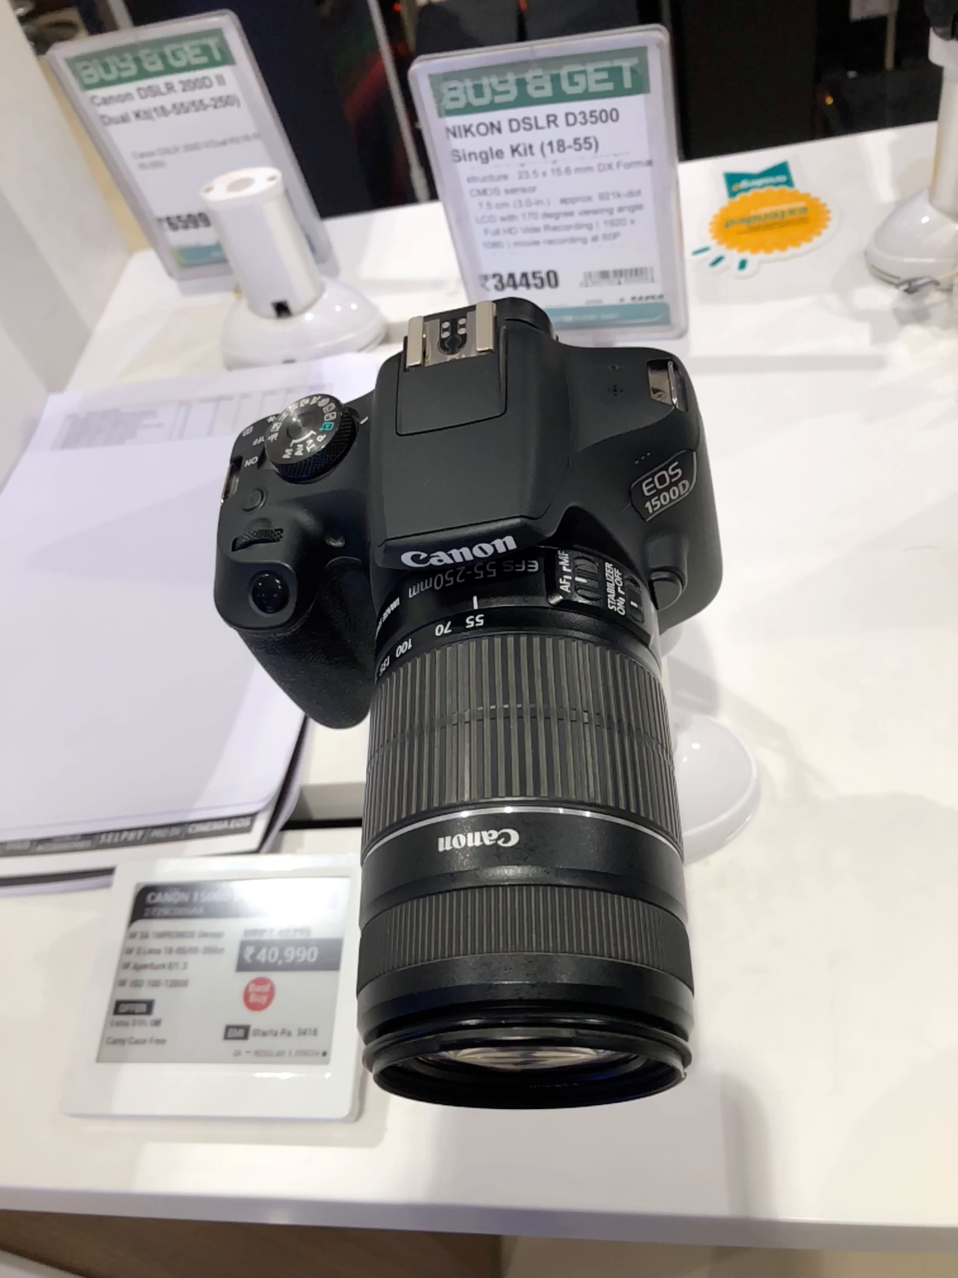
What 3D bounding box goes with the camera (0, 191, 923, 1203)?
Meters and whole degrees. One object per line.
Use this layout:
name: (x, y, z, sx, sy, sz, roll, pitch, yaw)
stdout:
camera: (-0.004, 0.004, 0.247, 0.140, 0.089, 0.201, -9, 50, 8)
